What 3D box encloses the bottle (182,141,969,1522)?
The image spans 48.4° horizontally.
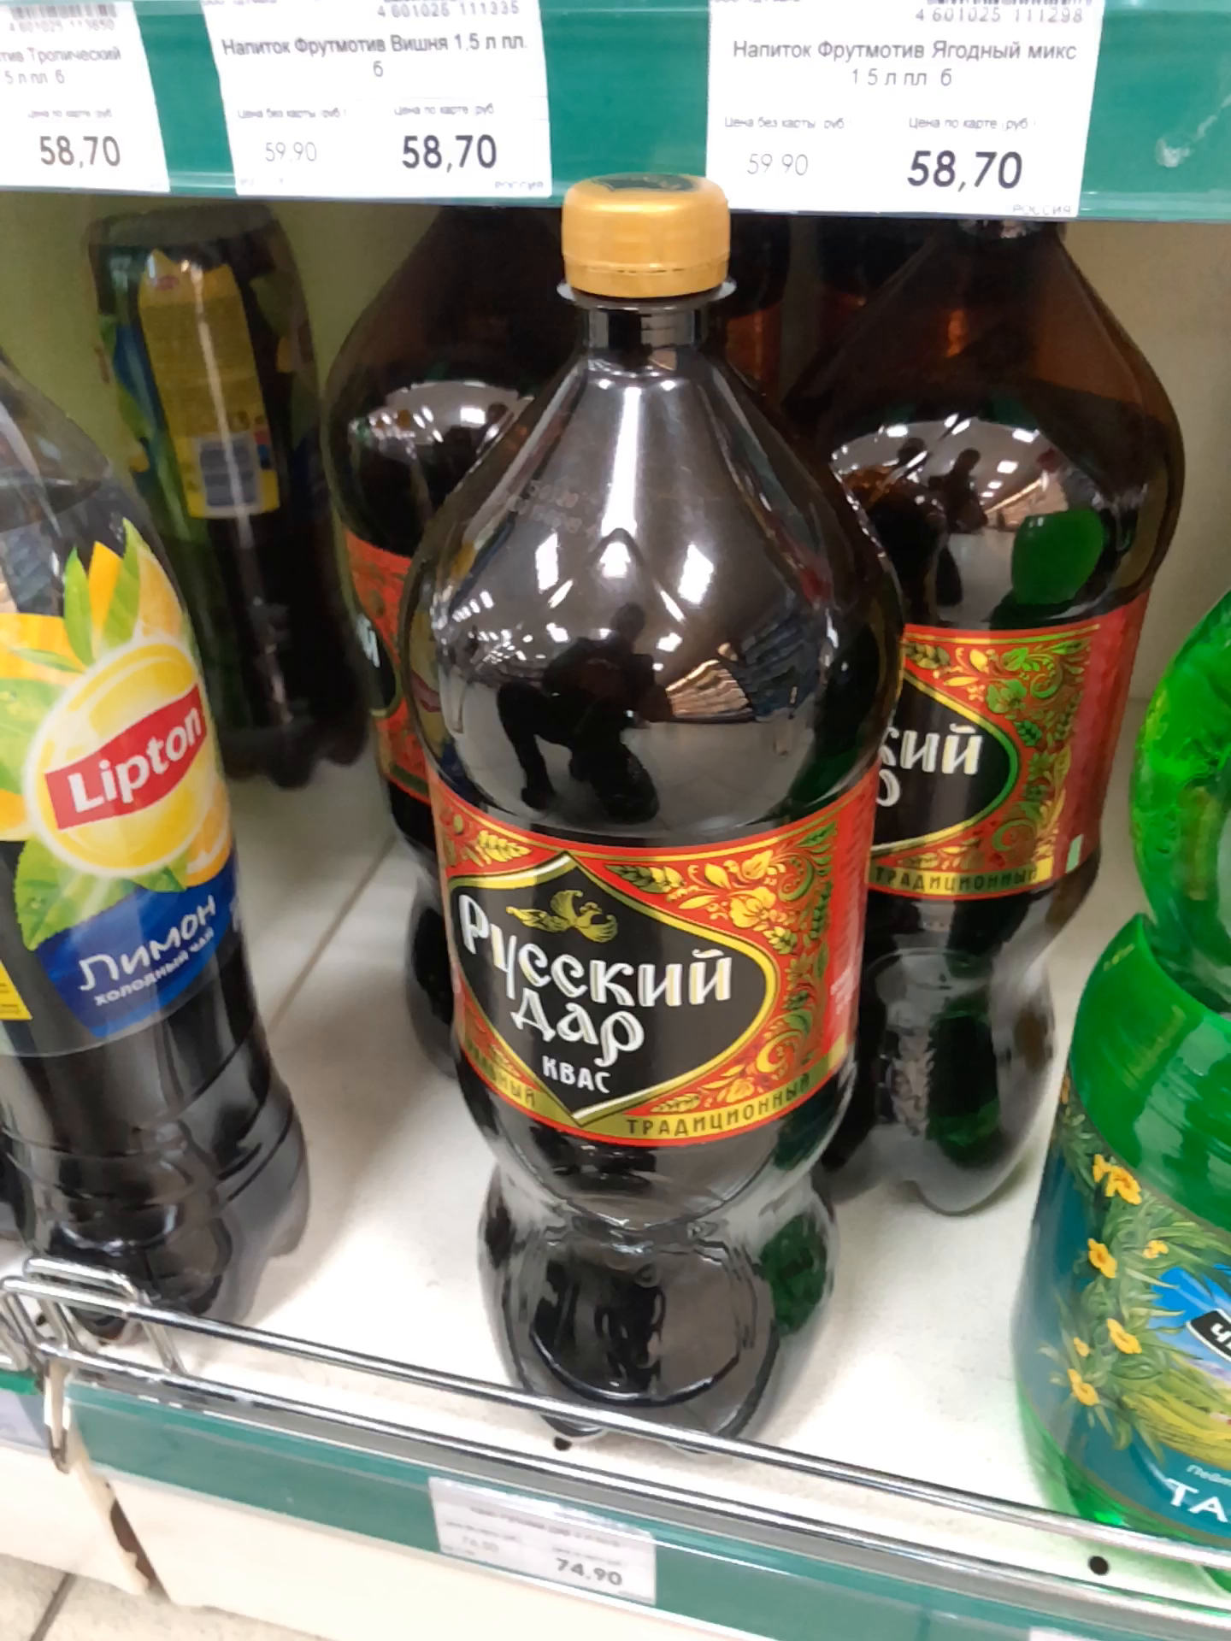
[{"bbox_3d":[0.006,0.022,0.333,0.110,0.322,0.101,-2,35,1],"label":"bottle"}]

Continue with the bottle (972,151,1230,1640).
[{"bbox_3d":[0.149,0.045,0.293,0.099,0.327,0.085,9,37,17],"label":"bottle"}]
